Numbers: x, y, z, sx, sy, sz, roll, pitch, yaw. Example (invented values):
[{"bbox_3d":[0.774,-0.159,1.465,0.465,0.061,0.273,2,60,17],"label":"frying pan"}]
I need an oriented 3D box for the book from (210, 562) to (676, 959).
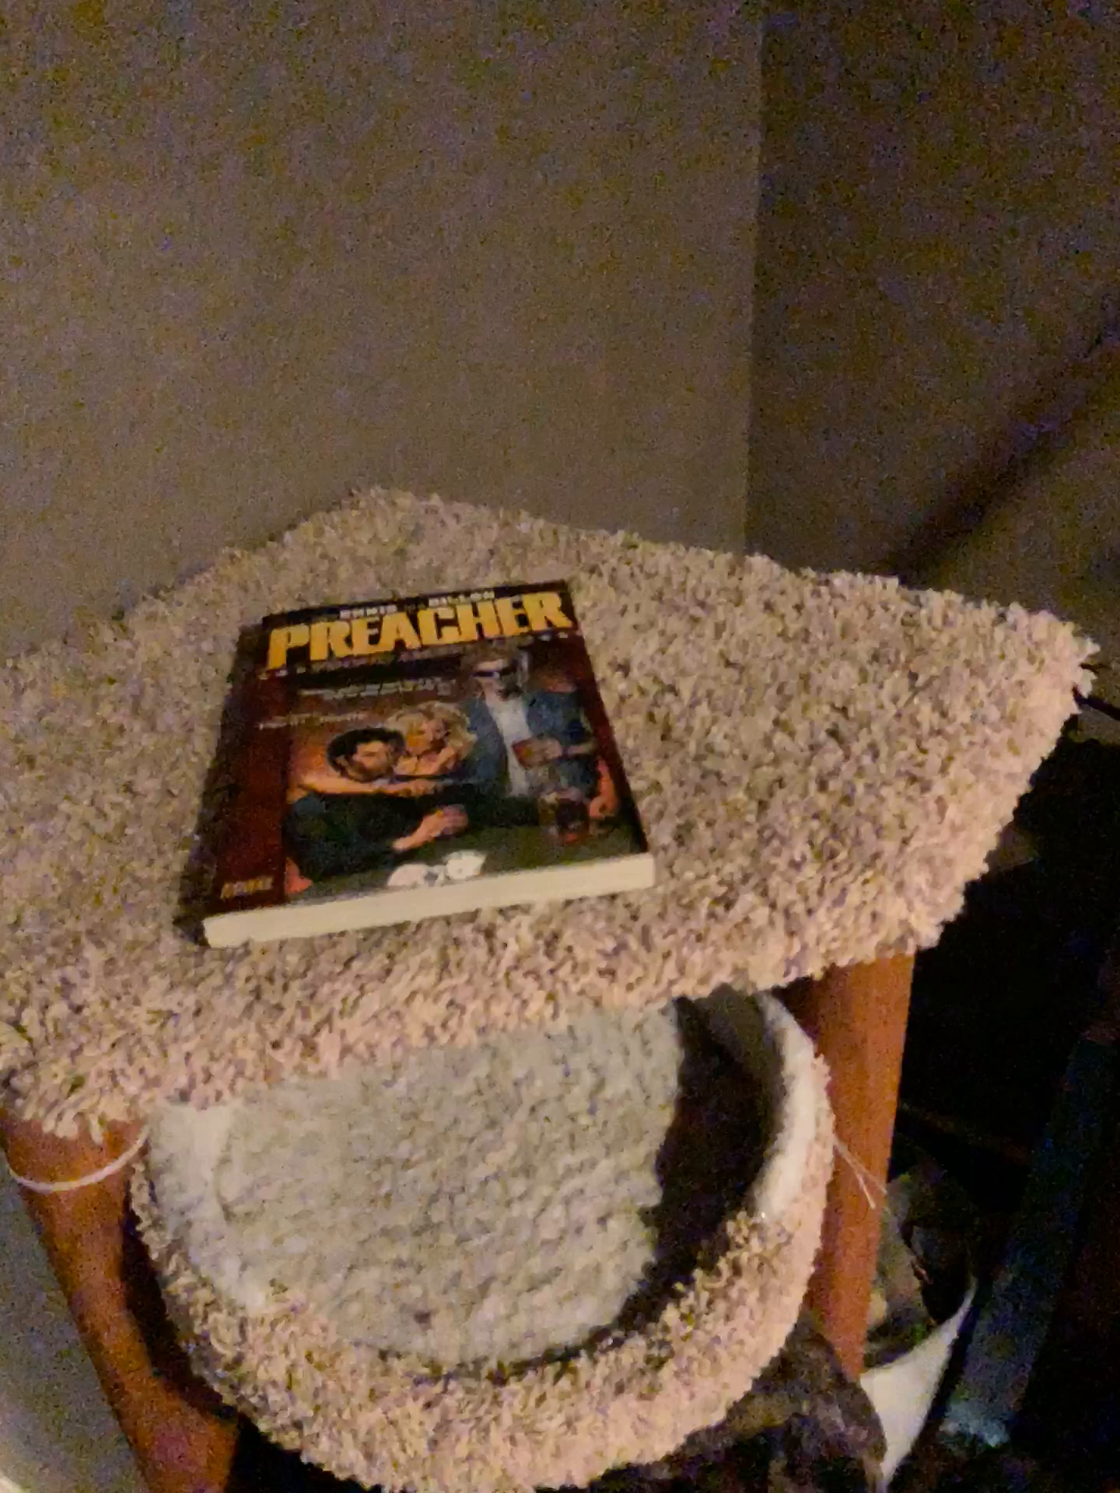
[{"bbox_3d":[-0.061,-0.012,0.568,0.170,0.020,0.270,-7,33,-6],"label":"book"}]

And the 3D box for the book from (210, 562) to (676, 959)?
[{"bbox_3d":[-0.061,-0.012,0.568,0.170,0.020,0.270,-7,33,-6],"label":"book"}]
